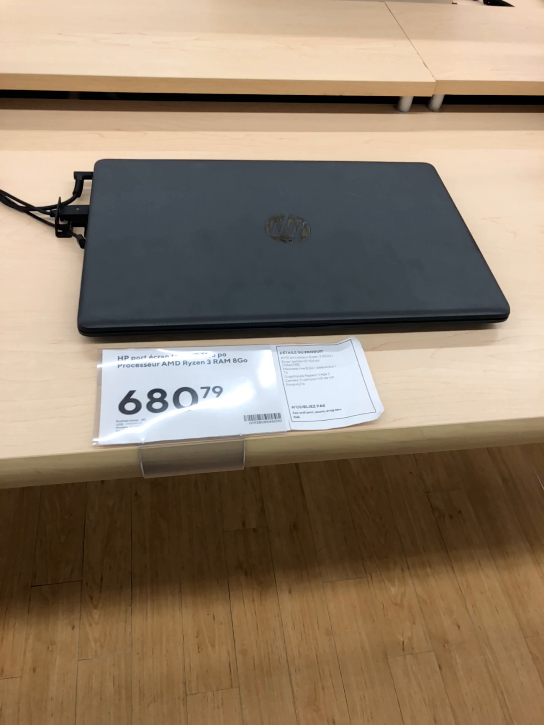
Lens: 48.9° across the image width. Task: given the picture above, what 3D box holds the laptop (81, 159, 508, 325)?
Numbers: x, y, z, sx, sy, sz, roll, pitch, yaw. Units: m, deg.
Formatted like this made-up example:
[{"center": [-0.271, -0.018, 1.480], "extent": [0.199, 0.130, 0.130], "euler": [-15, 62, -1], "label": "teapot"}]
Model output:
[{"center": [0.015, -0.133, 0.594], "extent": [0.373, 0.005, 0.245], "euler": [-3, 49, -9], "label": "laptop"}]
